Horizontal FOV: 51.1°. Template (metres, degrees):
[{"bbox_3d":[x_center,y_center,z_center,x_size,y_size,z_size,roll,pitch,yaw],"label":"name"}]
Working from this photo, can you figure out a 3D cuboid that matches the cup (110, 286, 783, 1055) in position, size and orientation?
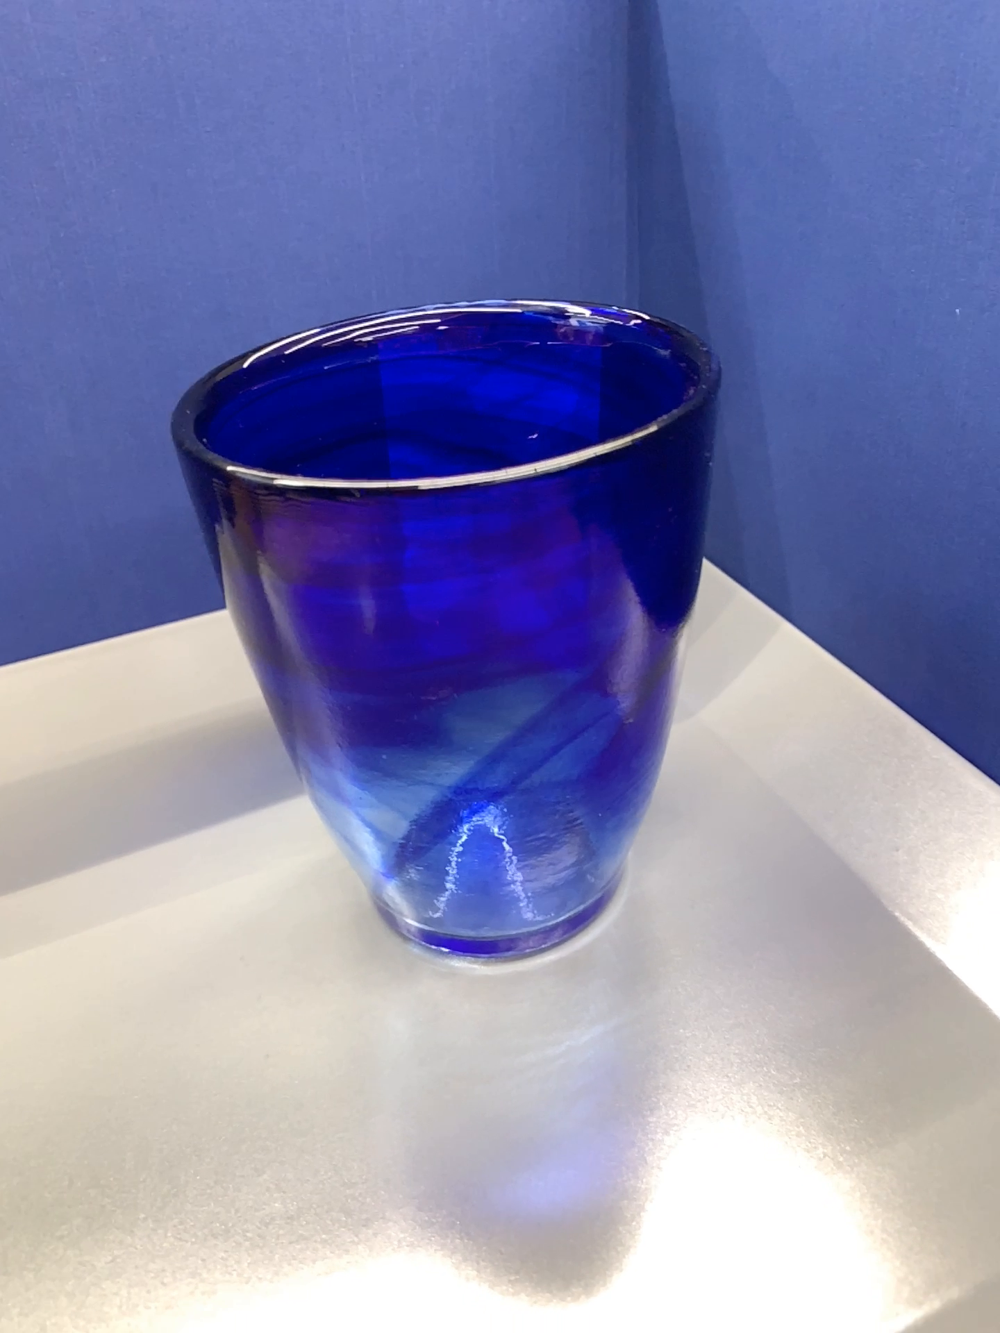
[{"bbox_3d":[0.000,-0.005,0.202,0.087,0.111,0.082,-2,32,1],"label":"cup"}]
